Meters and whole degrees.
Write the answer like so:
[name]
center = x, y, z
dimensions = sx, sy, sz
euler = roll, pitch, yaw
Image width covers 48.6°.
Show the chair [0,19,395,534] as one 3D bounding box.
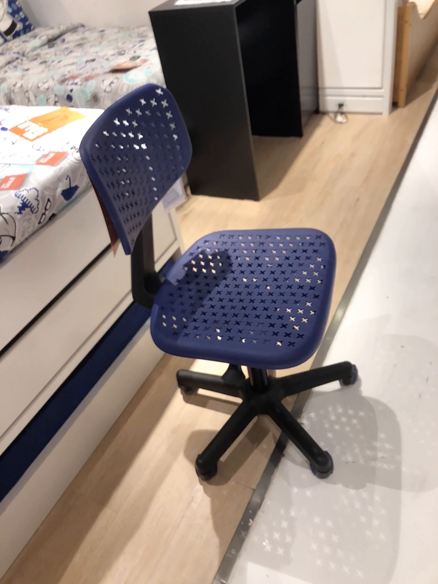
[chair]
center = 0.029, -0.022, 1.021
dimensions = 0.521, 0.813, 0.554
euler = 9, 45, 23
